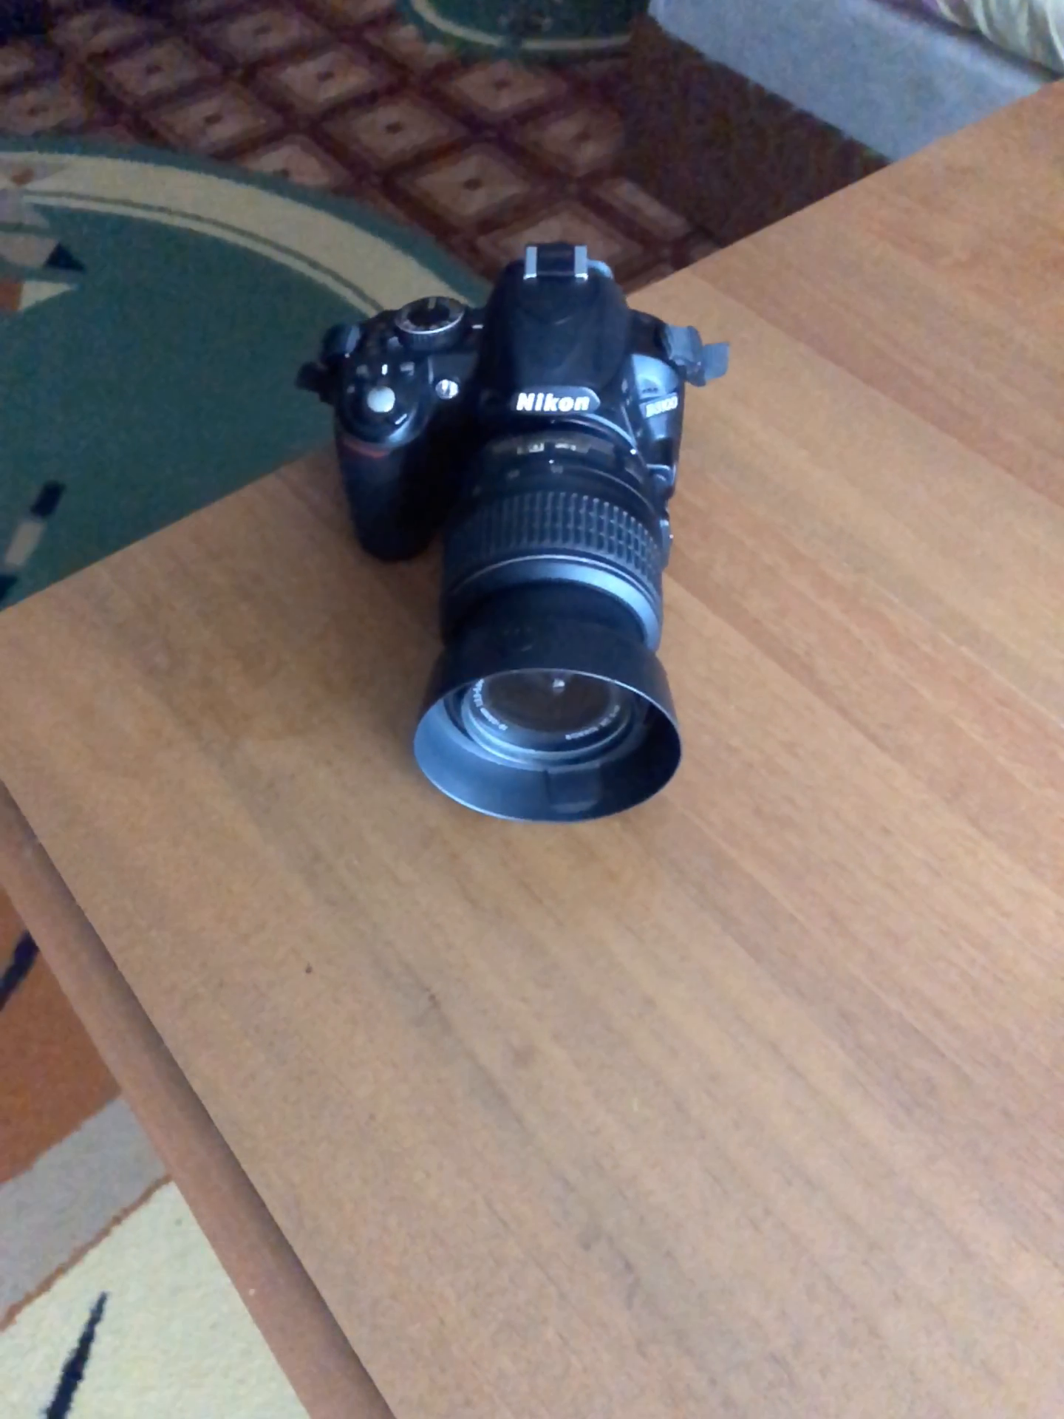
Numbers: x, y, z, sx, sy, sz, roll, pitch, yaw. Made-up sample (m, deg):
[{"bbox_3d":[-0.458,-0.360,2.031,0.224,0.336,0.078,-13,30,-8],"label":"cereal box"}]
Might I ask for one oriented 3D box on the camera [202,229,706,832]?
[{"bbox_3d":[-0.013,-0.065,0.392,0.129,0.092,0.183,2,53,3],"label":"camera"}]
